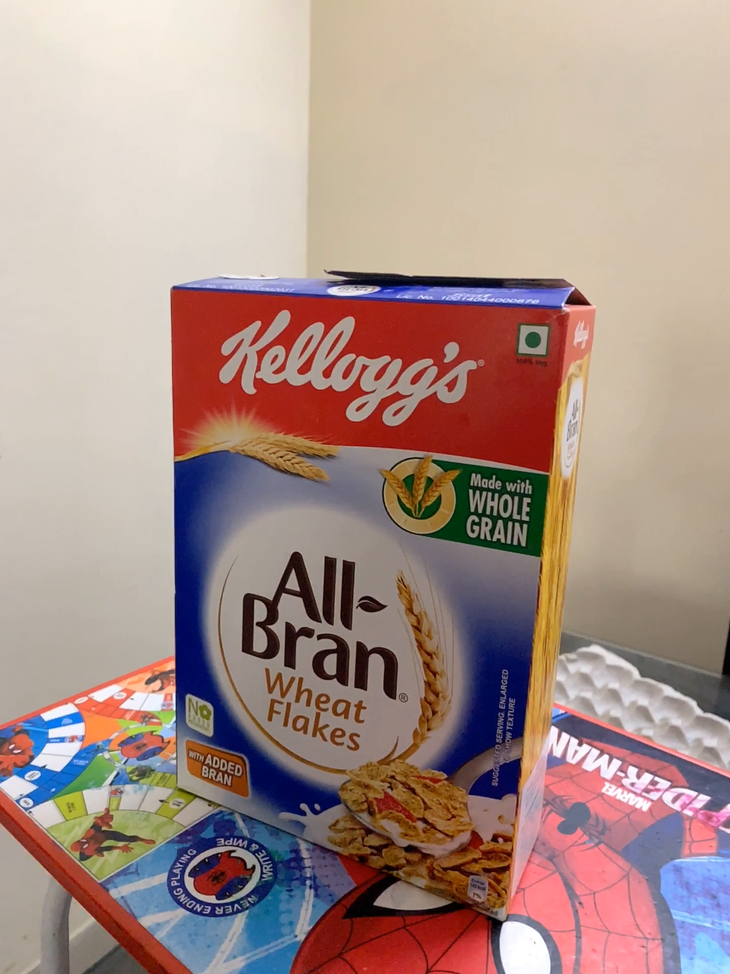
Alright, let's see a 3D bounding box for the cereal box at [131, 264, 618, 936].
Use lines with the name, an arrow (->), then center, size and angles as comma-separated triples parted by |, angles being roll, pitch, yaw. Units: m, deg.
cereal box -> -0.006, 0.034, 0.334 | 0.190, 0.249, 0.060 | 9, 15, 26
